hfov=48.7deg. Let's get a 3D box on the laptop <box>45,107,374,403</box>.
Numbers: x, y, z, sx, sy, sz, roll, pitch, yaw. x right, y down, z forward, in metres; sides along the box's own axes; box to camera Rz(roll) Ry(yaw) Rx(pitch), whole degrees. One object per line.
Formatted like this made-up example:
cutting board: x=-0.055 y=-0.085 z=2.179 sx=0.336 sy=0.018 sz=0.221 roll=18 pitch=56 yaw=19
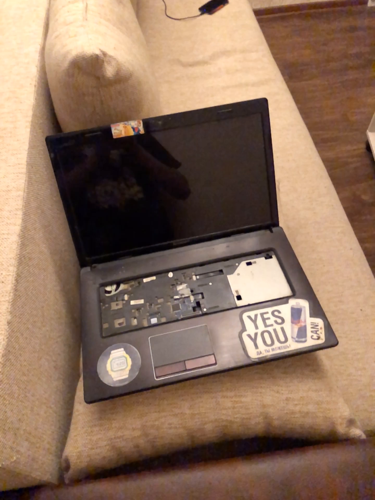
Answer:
laptop: x=-0.004 y=-0.014 z=0.713 sx=0.412 sy=0.198 sz=0.409 roll=-11 pitch=52 yaw=-5
